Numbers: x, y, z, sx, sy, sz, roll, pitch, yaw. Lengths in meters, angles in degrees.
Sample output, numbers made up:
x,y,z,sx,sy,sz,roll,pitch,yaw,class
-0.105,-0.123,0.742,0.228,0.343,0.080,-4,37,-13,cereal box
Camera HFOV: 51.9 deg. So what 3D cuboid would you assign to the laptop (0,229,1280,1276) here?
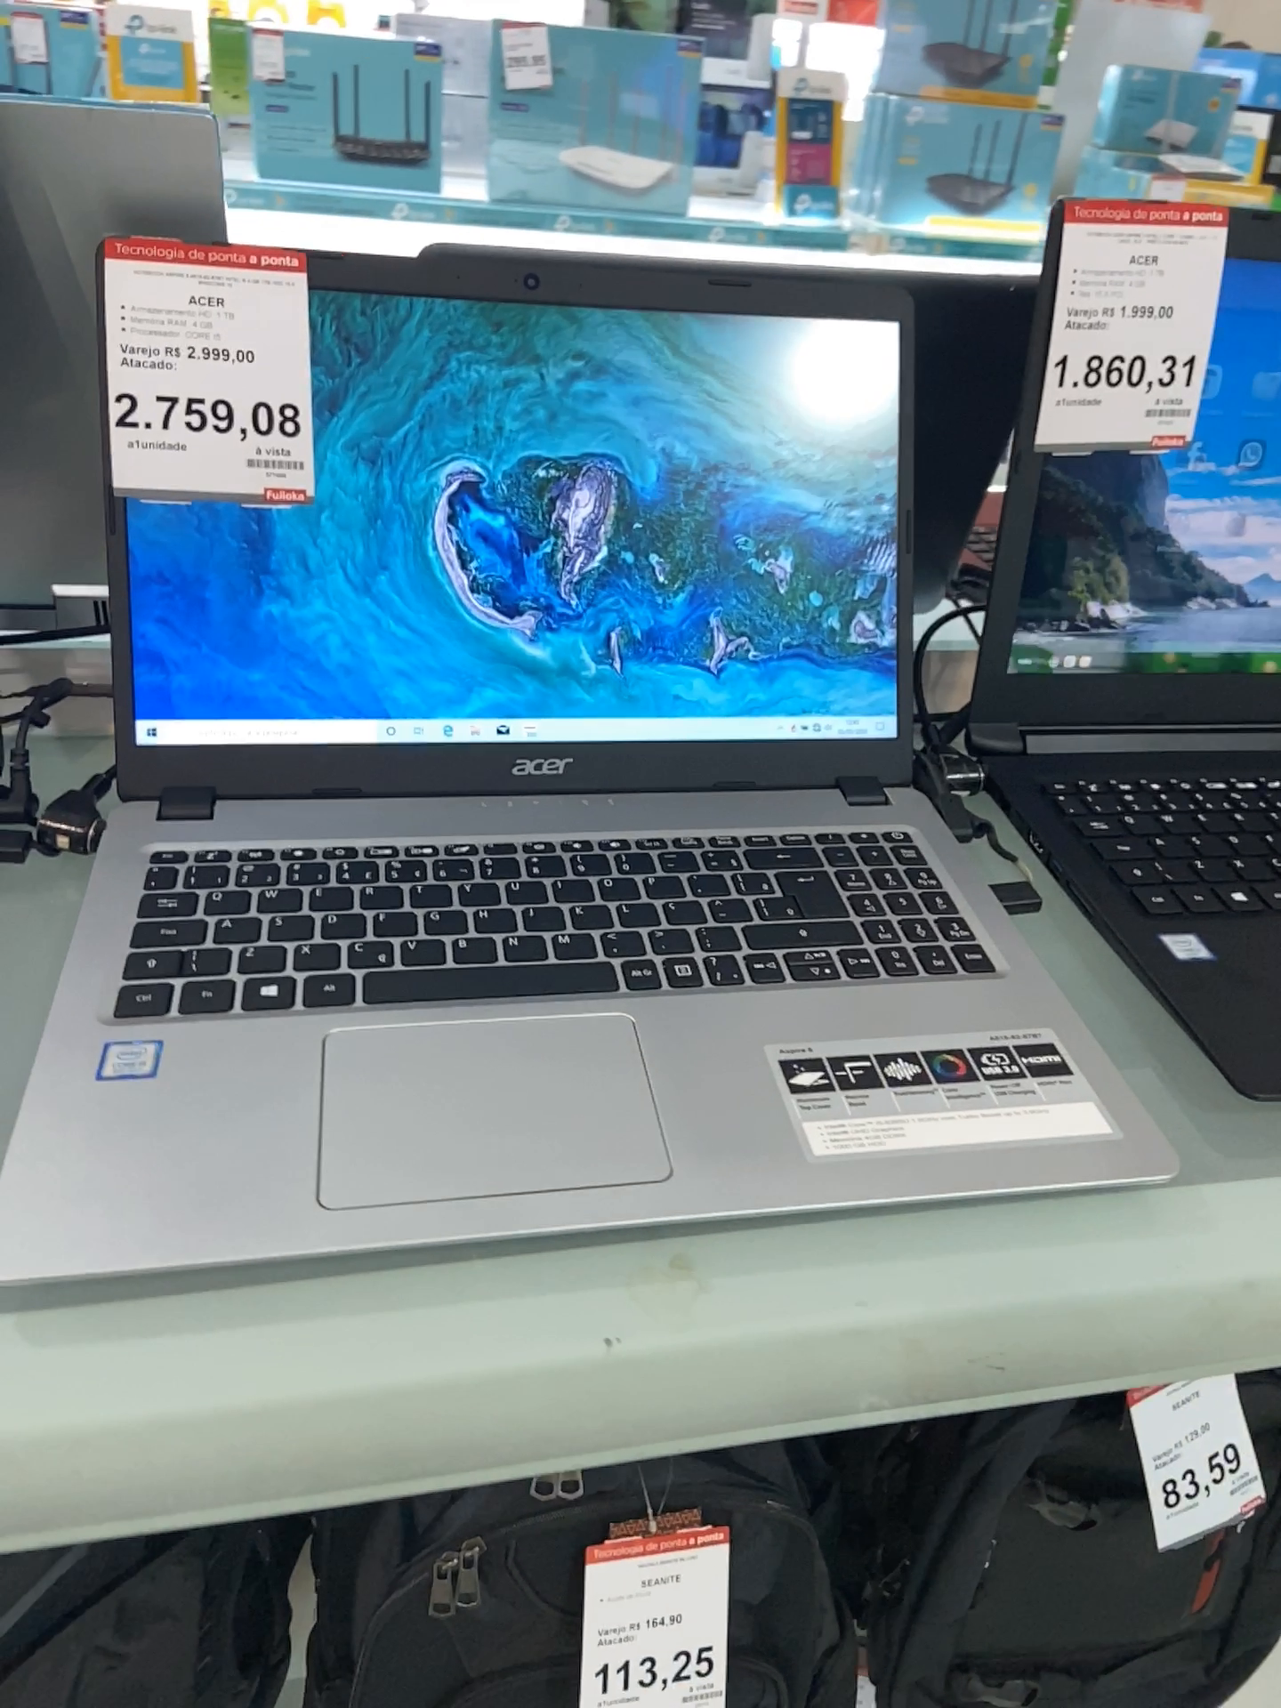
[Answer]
x,y,z,sx,sy,sz,roll,pitch,yaw,class
-0.023,-0.079,0.479,0.350,0.198,0.364,-2,33,-11,laptop
